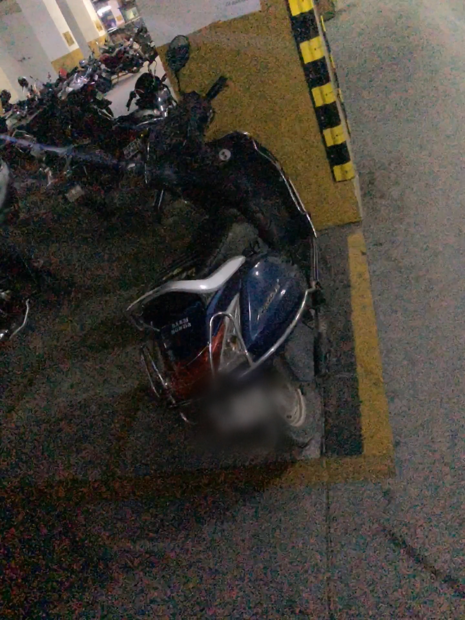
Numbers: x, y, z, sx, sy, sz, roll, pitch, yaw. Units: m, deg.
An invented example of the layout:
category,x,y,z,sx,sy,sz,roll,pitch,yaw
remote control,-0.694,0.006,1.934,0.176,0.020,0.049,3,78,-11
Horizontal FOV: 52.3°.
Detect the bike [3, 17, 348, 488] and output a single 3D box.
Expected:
category,x,y,z,sx,sy,sz,roll,pitch,yaw
bike,-0.158,-0.280,1.870,0.631,1.062,1.276,-19,39,11
